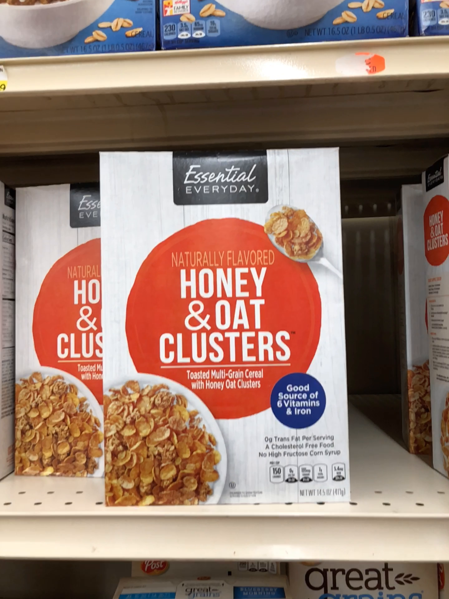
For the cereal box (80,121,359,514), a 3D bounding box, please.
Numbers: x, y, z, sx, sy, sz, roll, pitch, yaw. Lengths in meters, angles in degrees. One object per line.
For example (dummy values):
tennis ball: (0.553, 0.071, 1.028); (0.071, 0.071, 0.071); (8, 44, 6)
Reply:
cereal box: (-0.005, 0.014, 0.422); (0.210, 0.300, 0.070); (-2, -2, 2)
